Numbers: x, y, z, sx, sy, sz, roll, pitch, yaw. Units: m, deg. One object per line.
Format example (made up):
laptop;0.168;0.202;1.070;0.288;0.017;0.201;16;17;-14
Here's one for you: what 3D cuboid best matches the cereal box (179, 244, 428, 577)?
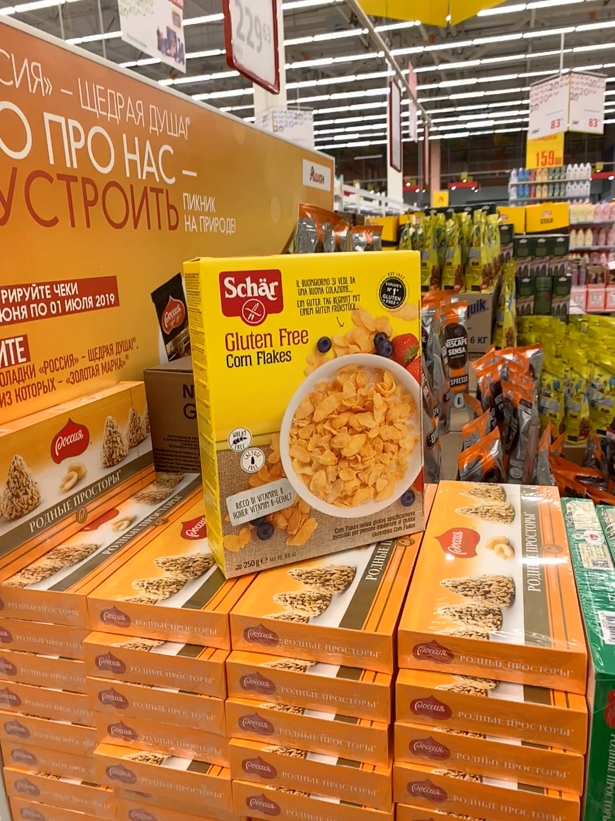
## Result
cereal box;0.004;-0.008;0.558;0.200;0.259;0.060;-8;15;-22
